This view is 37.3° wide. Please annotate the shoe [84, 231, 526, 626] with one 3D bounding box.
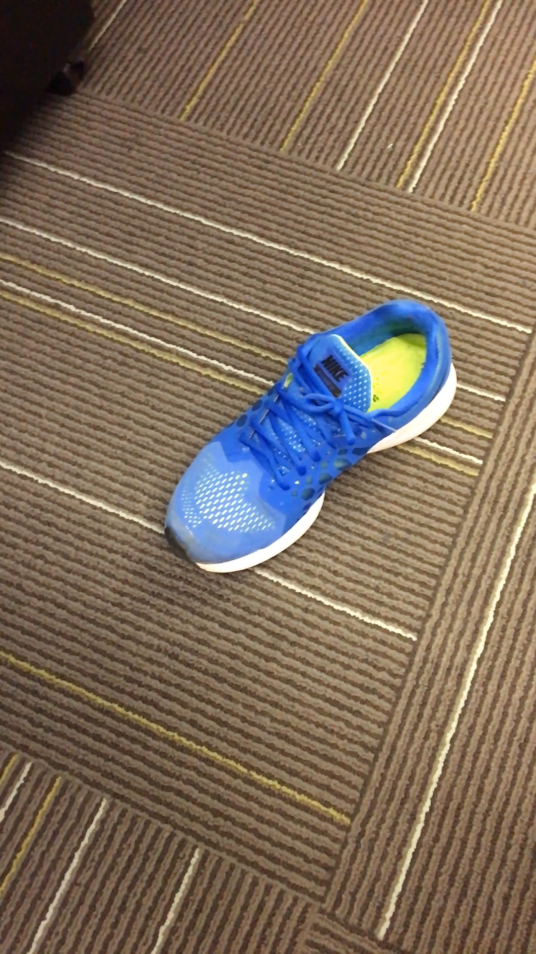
[{"bbox_3d":[0.033,-0.034,0.633,0.310,0.150,0.110,-35,70,-12],"label":"shoe"}]
